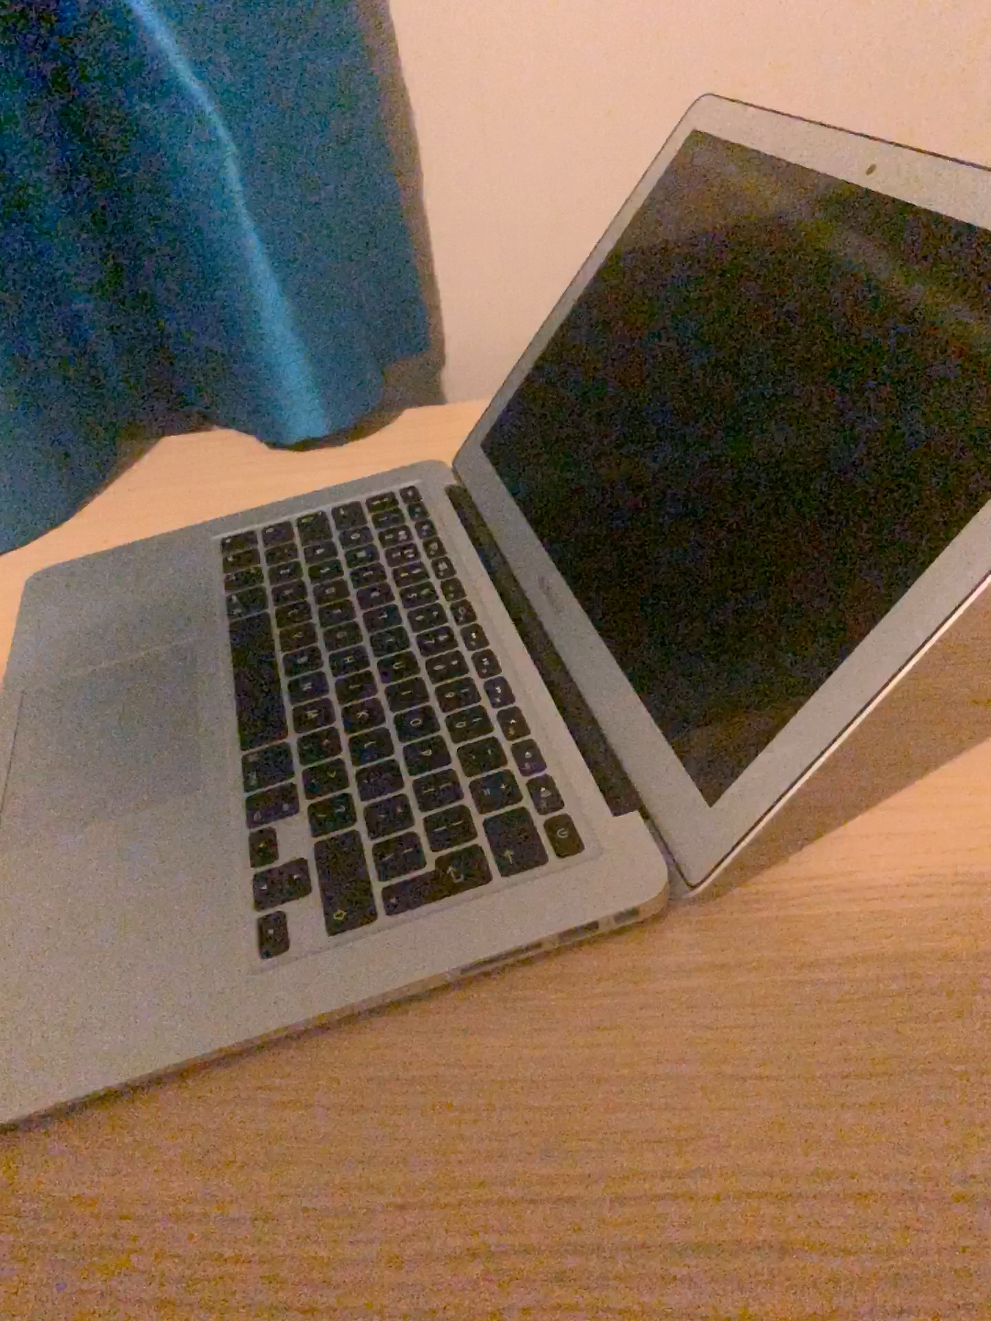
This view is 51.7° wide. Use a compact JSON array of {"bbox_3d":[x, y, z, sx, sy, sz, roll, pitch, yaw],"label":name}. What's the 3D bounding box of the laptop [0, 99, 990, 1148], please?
[{"bbox_3d":[-0.030,-0.067,0.370,0.368,0.144,0.304,-16,37,-8],"label":"laptop"}]
